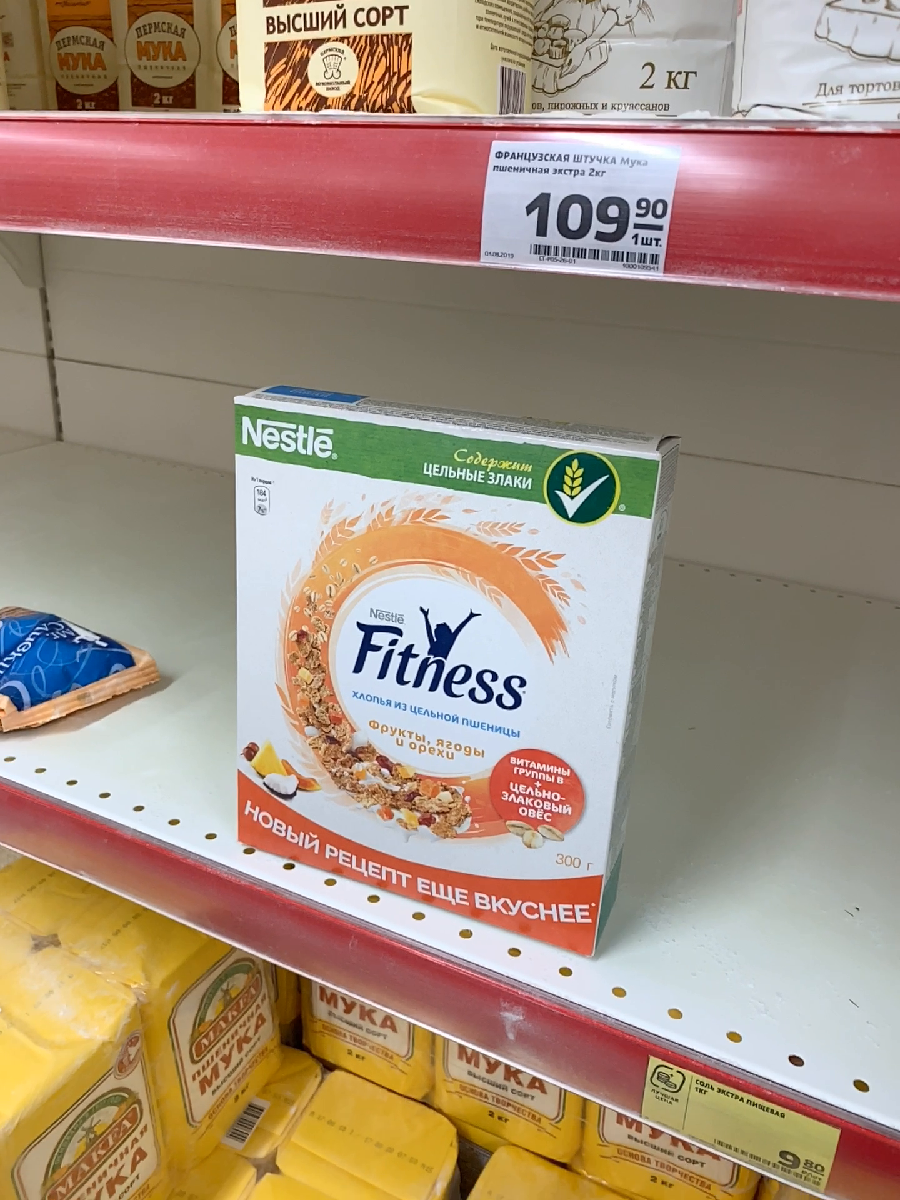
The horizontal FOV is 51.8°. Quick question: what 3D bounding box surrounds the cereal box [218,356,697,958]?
[{"bbox_3d":[-0.008,0.019,0.439,0.200,0.239,0.060,12,19,21],"label":"cereal box"}]
